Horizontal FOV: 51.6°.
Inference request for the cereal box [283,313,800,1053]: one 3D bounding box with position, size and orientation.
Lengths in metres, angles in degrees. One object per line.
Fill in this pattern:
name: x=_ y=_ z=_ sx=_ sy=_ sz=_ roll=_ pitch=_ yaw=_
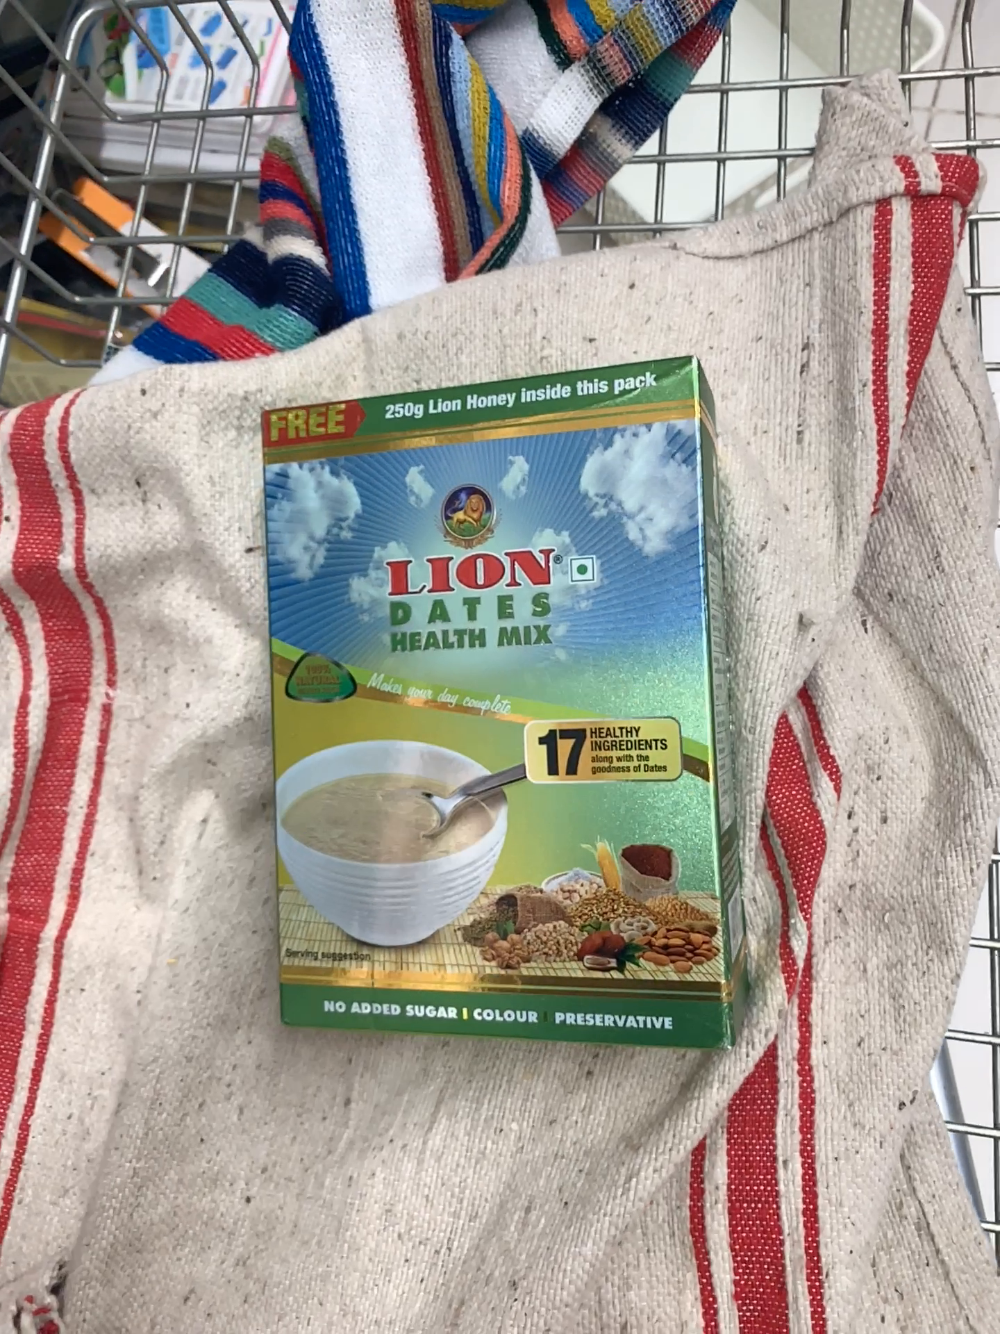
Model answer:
cereal box: x=0.018 y=0.007 z=0.329 sx=0.140 sy=0.090 sz=0.190 roll=-3 pitch=88 yaw=17
